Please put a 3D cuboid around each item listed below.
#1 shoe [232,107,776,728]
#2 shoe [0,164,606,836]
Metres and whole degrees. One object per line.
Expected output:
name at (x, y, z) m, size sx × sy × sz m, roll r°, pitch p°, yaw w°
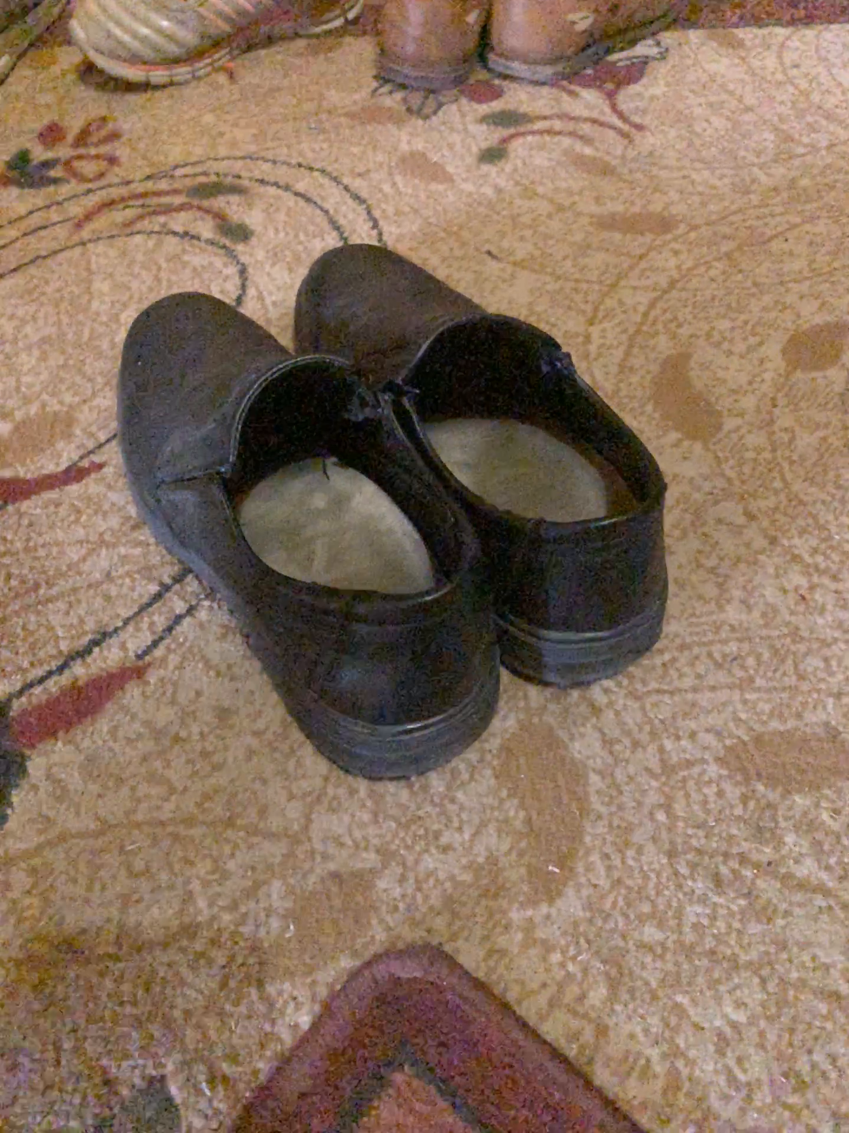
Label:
shoe at (0.012, -0.088, 0.402) m, size 0.100 × 0.099 × 0.292 m, roll -20°, pitch 55°, yaw -15°
shoe at (-0.067, -0.048, 0.373) m, size 0.100 × 0.099 × 0.291 m, roll -29°, pitch 58°, yaw -21°
